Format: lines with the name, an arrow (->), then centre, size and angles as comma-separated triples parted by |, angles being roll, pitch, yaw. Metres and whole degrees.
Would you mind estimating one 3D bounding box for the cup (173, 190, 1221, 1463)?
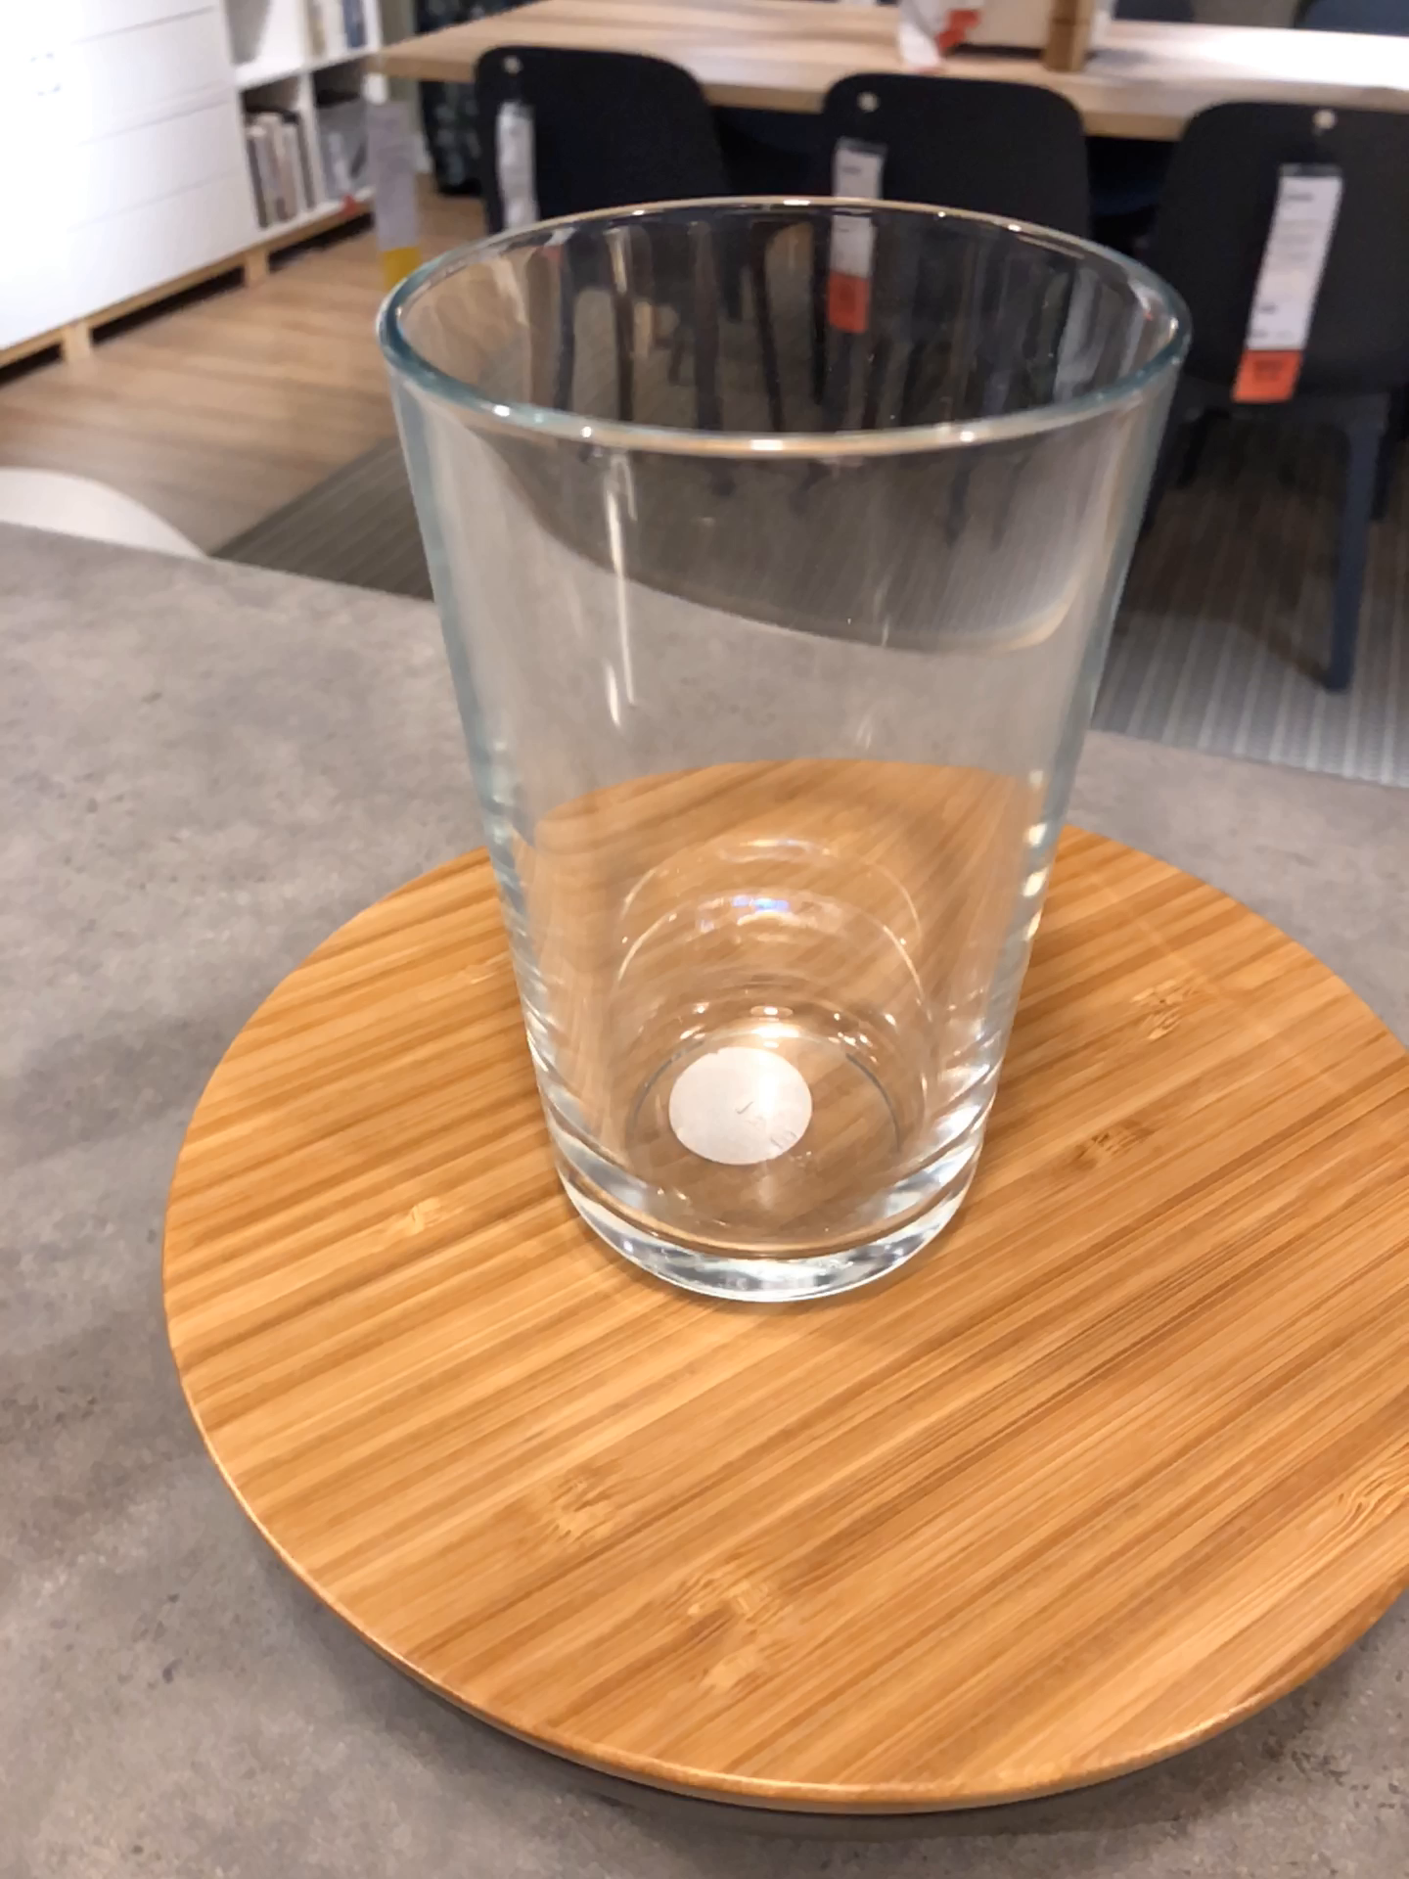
cup -> 0.007, -0.019, 0.228 | 0.100, 0.139, 0.100 | 0, 37, 0
